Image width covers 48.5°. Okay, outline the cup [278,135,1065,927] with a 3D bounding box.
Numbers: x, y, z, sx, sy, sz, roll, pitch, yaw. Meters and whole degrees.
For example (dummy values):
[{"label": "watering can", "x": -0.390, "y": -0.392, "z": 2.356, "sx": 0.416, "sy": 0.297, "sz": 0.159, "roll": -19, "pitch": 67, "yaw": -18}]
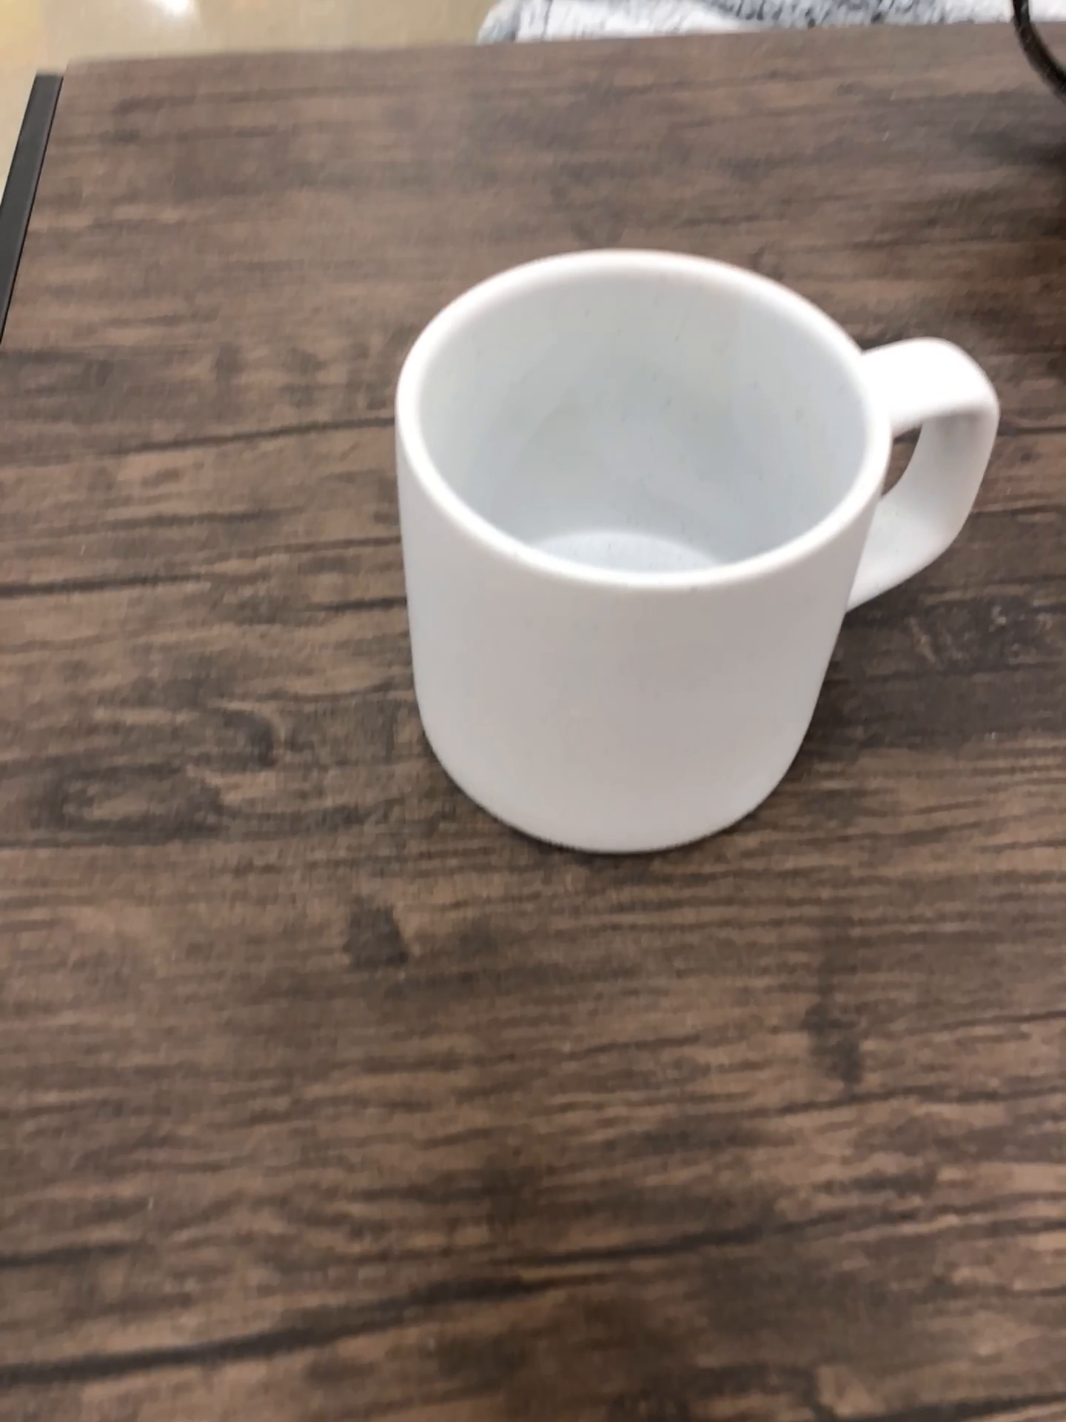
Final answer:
[{"label": "cup", "x": 0.030, "y": -0.037, "z": 0.249, "sx": 0.130, "sy": 0.100, "sz": 0.090, "roll": -19, "pitch": 58, "yaw": -13}]
